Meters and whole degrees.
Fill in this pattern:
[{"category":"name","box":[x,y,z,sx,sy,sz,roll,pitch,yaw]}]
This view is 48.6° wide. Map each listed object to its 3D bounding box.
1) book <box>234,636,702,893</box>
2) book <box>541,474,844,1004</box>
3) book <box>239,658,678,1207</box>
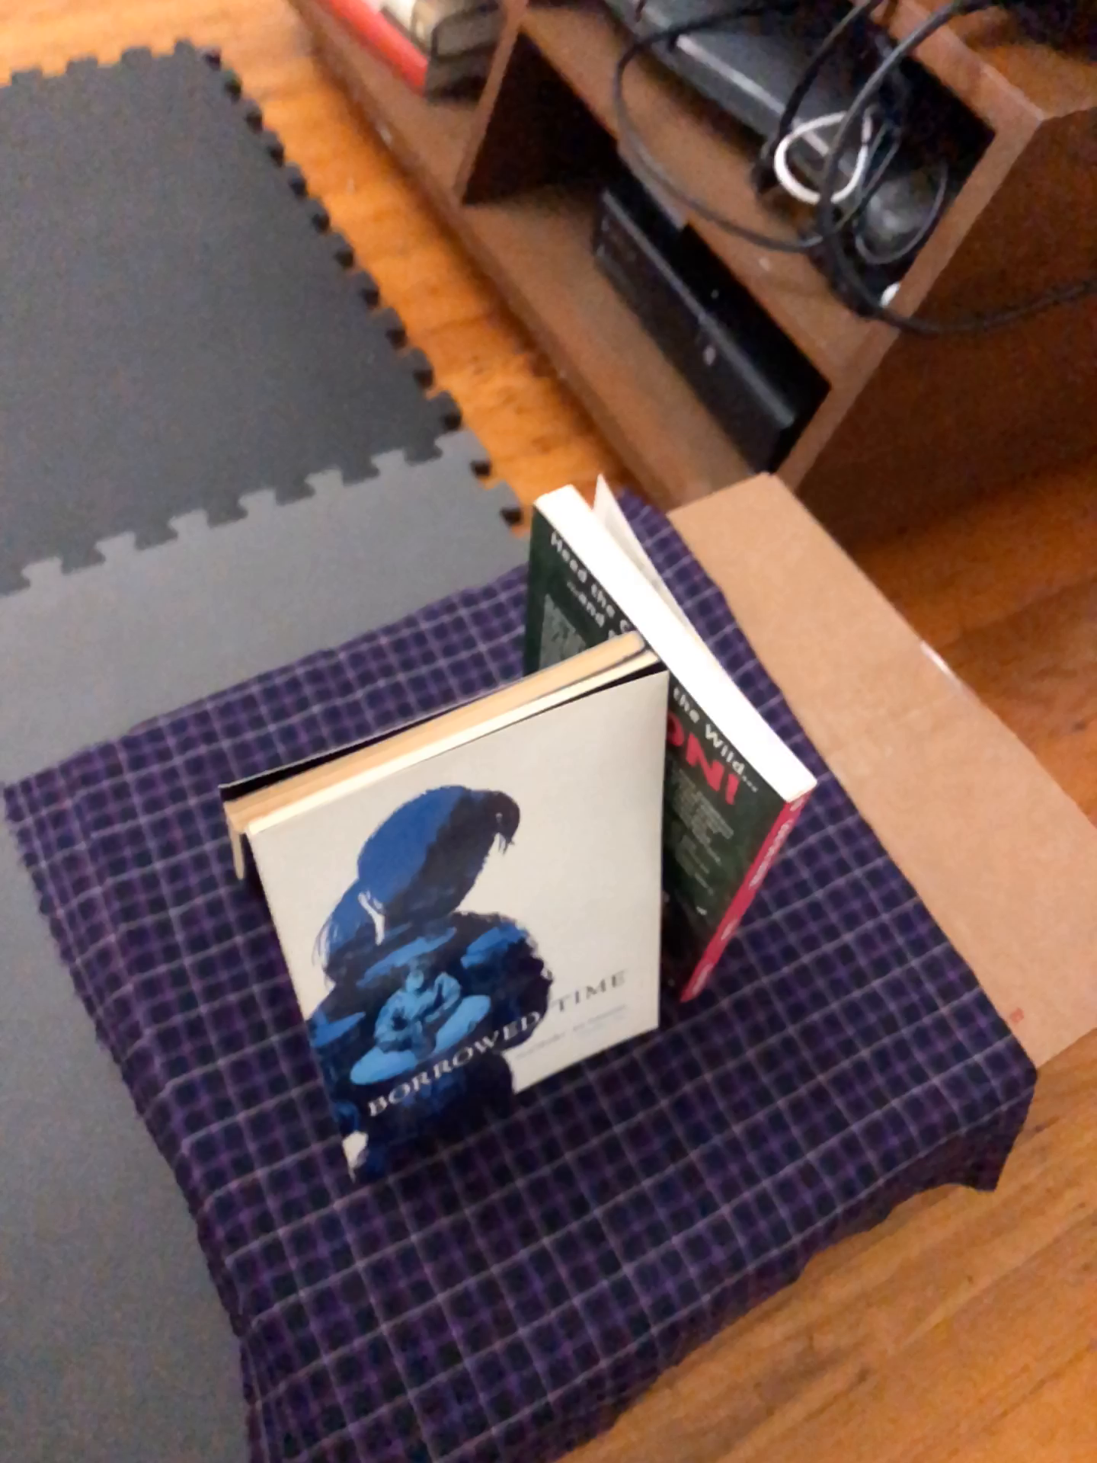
[{"category":"book","box":[-0.044,0.020,0.460,0.150,0.200,0.010,-21,84,-17]},{"category":"book","box":[0.041,0.015,0.466,0.020,0.189,0.140,-28,66,-14]},{"category":"book","box":[-0.019,0.079,0.424,0.140,0.199,0.010,-23,46,-21]}]
